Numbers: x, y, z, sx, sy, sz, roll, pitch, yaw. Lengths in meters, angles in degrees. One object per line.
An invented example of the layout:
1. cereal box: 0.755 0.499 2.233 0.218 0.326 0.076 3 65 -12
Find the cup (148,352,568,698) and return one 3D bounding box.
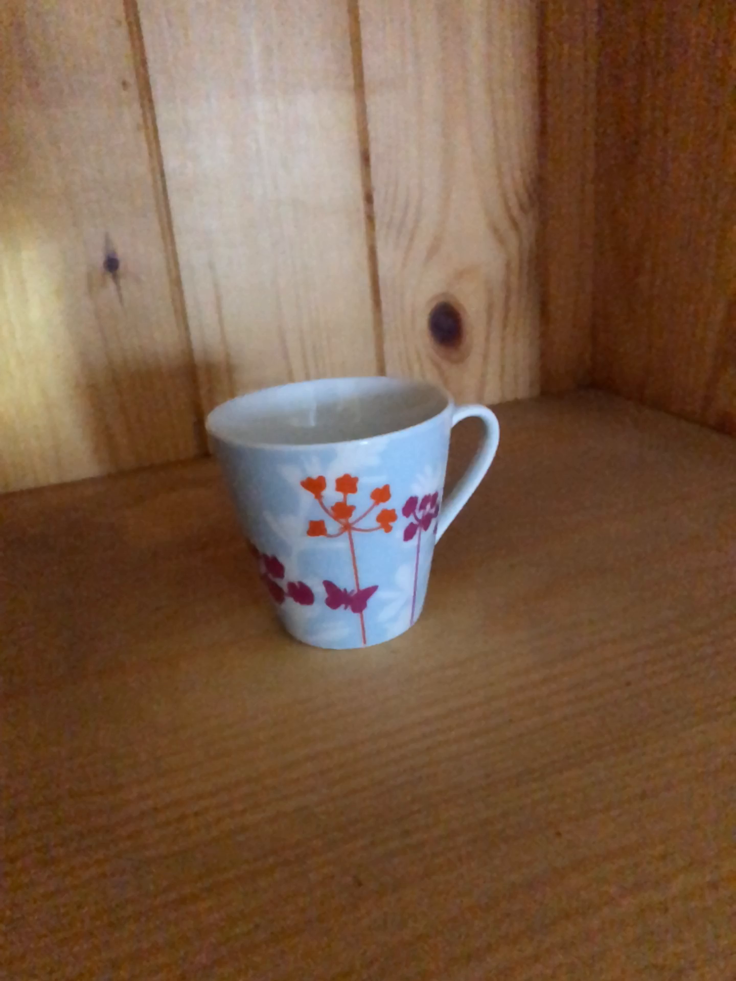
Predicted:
1. cup: -0.004 0.001 0.210 0.080 0.050 0.070 -15 23 -25
